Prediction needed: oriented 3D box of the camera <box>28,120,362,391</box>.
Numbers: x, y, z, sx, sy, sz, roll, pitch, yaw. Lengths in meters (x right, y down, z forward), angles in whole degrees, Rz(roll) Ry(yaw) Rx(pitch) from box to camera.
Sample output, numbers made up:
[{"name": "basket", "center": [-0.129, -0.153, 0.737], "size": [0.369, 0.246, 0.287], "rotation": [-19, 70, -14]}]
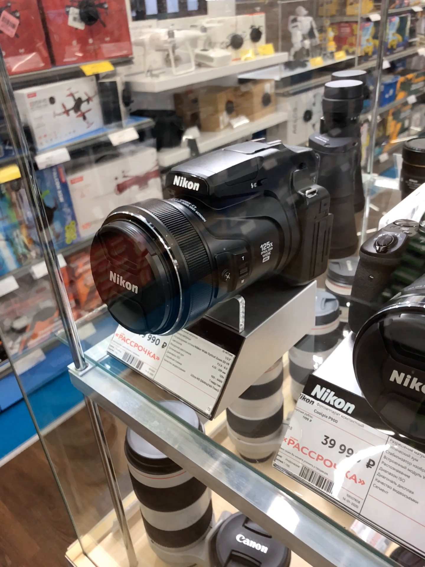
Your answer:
[{"name": "camera", "center": [-0.005, -0.046, 0.387], "size": [0.160, 0.113, 0.201], "rotation": [22, 41, 38]}]
